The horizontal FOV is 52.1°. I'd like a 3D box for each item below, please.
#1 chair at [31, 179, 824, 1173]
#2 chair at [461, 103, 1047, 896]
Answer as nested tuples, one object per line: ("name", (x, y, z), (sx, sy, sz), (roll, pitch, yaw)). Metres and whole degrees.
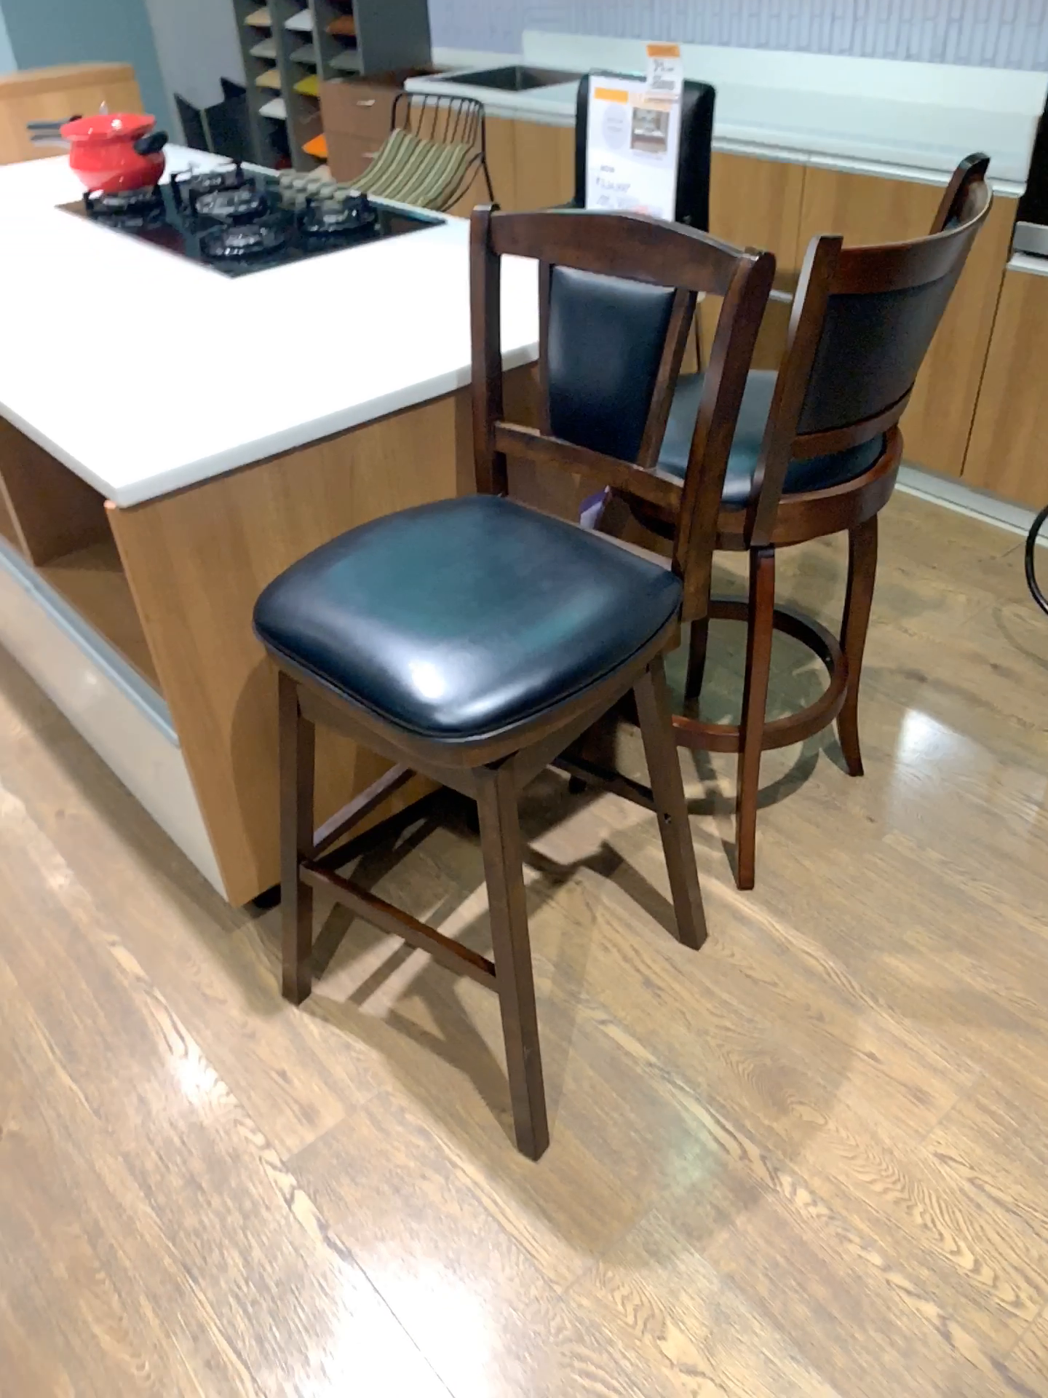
("chair", (-0.063, -0.039, 1.403), (0.581, 1.026, 0.571), (22, 44, 30))
("chair", (0.333, -0.330, 1.751), (0.551, 1.026, 0.572), (-32, 45, -33))
